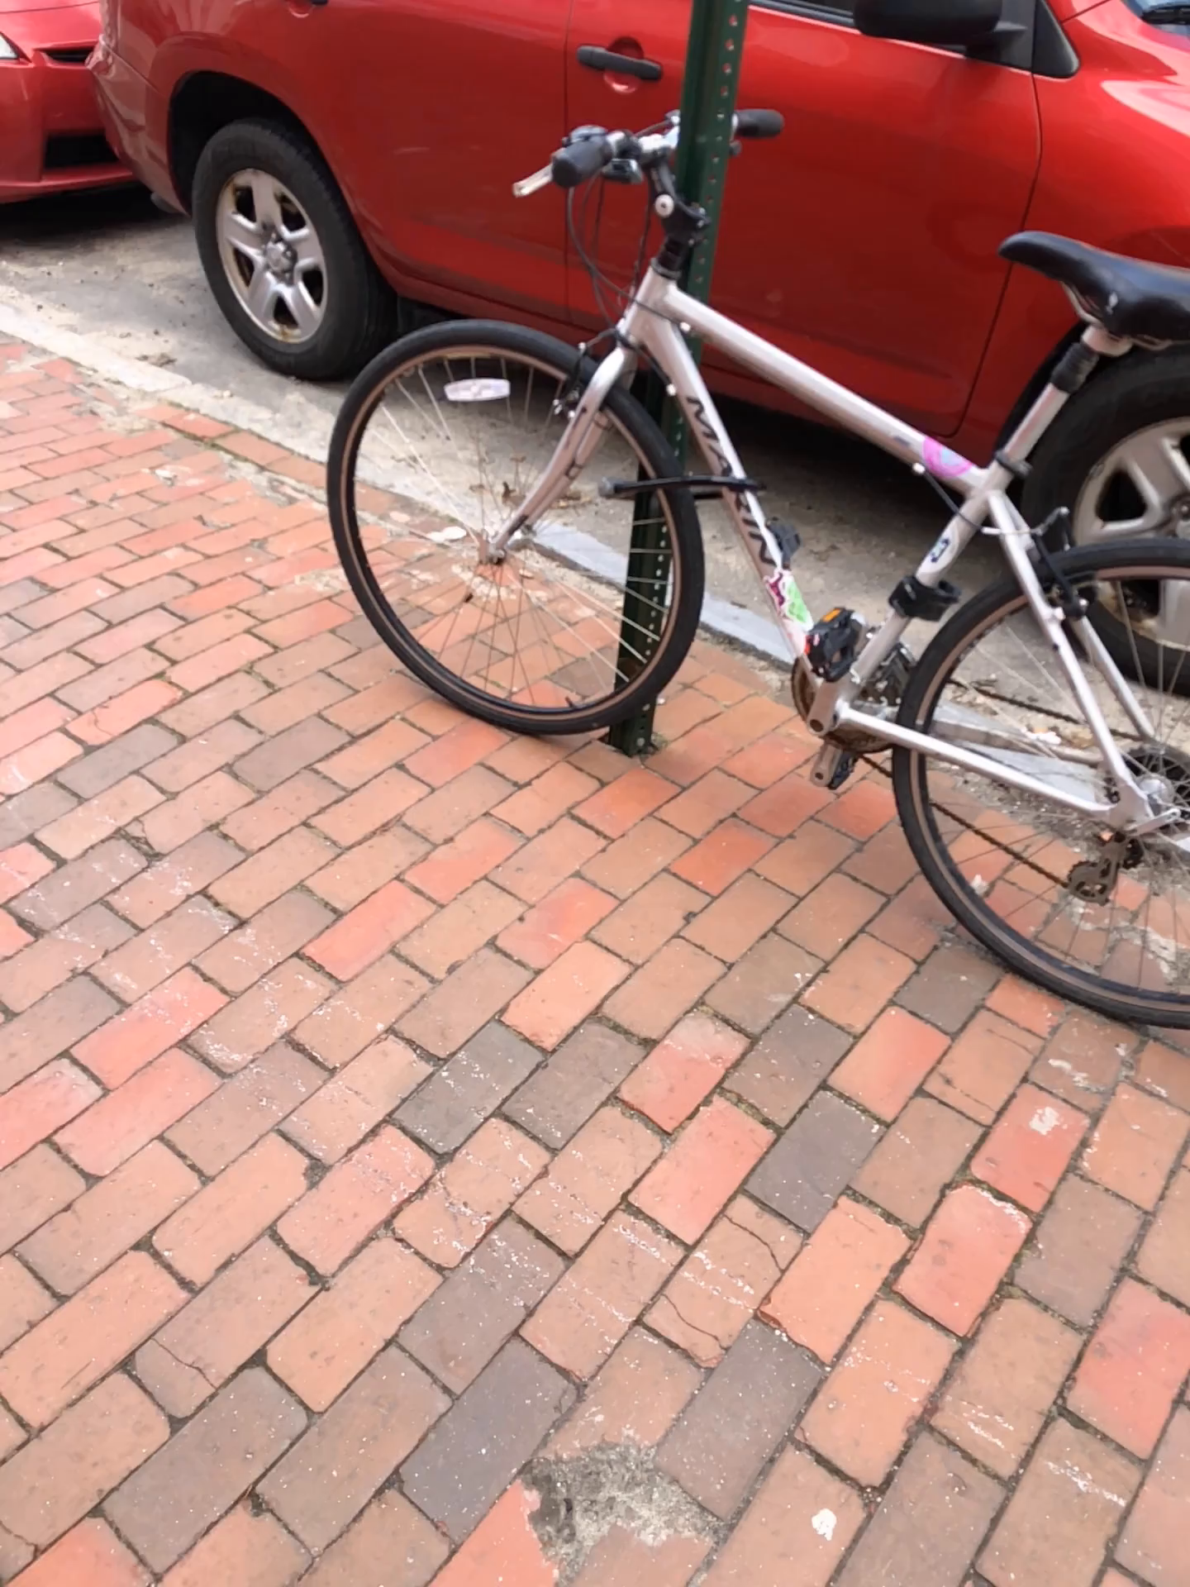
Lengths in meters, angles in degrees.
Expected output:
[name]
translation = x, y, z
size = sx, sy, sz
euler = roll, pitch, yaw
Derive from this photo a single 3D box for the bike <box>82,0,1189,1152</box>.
[bike]
translation = 0.236, -0.469, 1.750
size = 1.562, 1.010, 0.612
euler = 27, 45, 21
